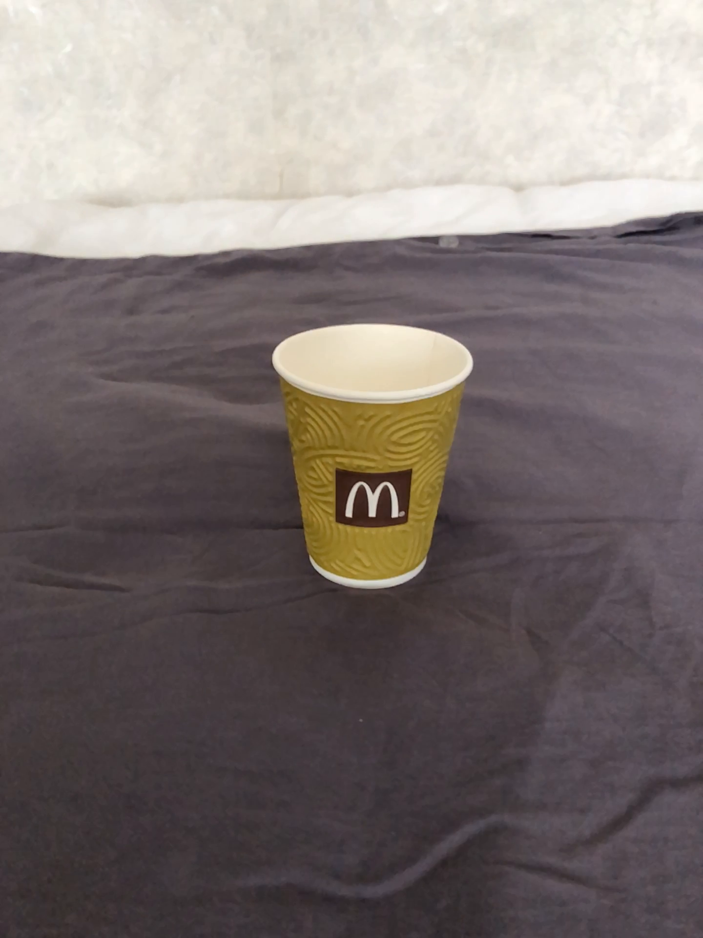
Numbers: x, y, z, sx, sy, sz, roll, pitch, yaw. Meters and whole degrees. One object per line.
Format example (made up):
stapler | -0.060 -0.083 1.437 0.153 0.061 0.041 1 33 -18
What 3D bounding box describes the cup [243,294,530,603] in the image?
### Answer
cup | 0.018 -0.015 0.355 0.107 0.101 0.099 0 28 0
